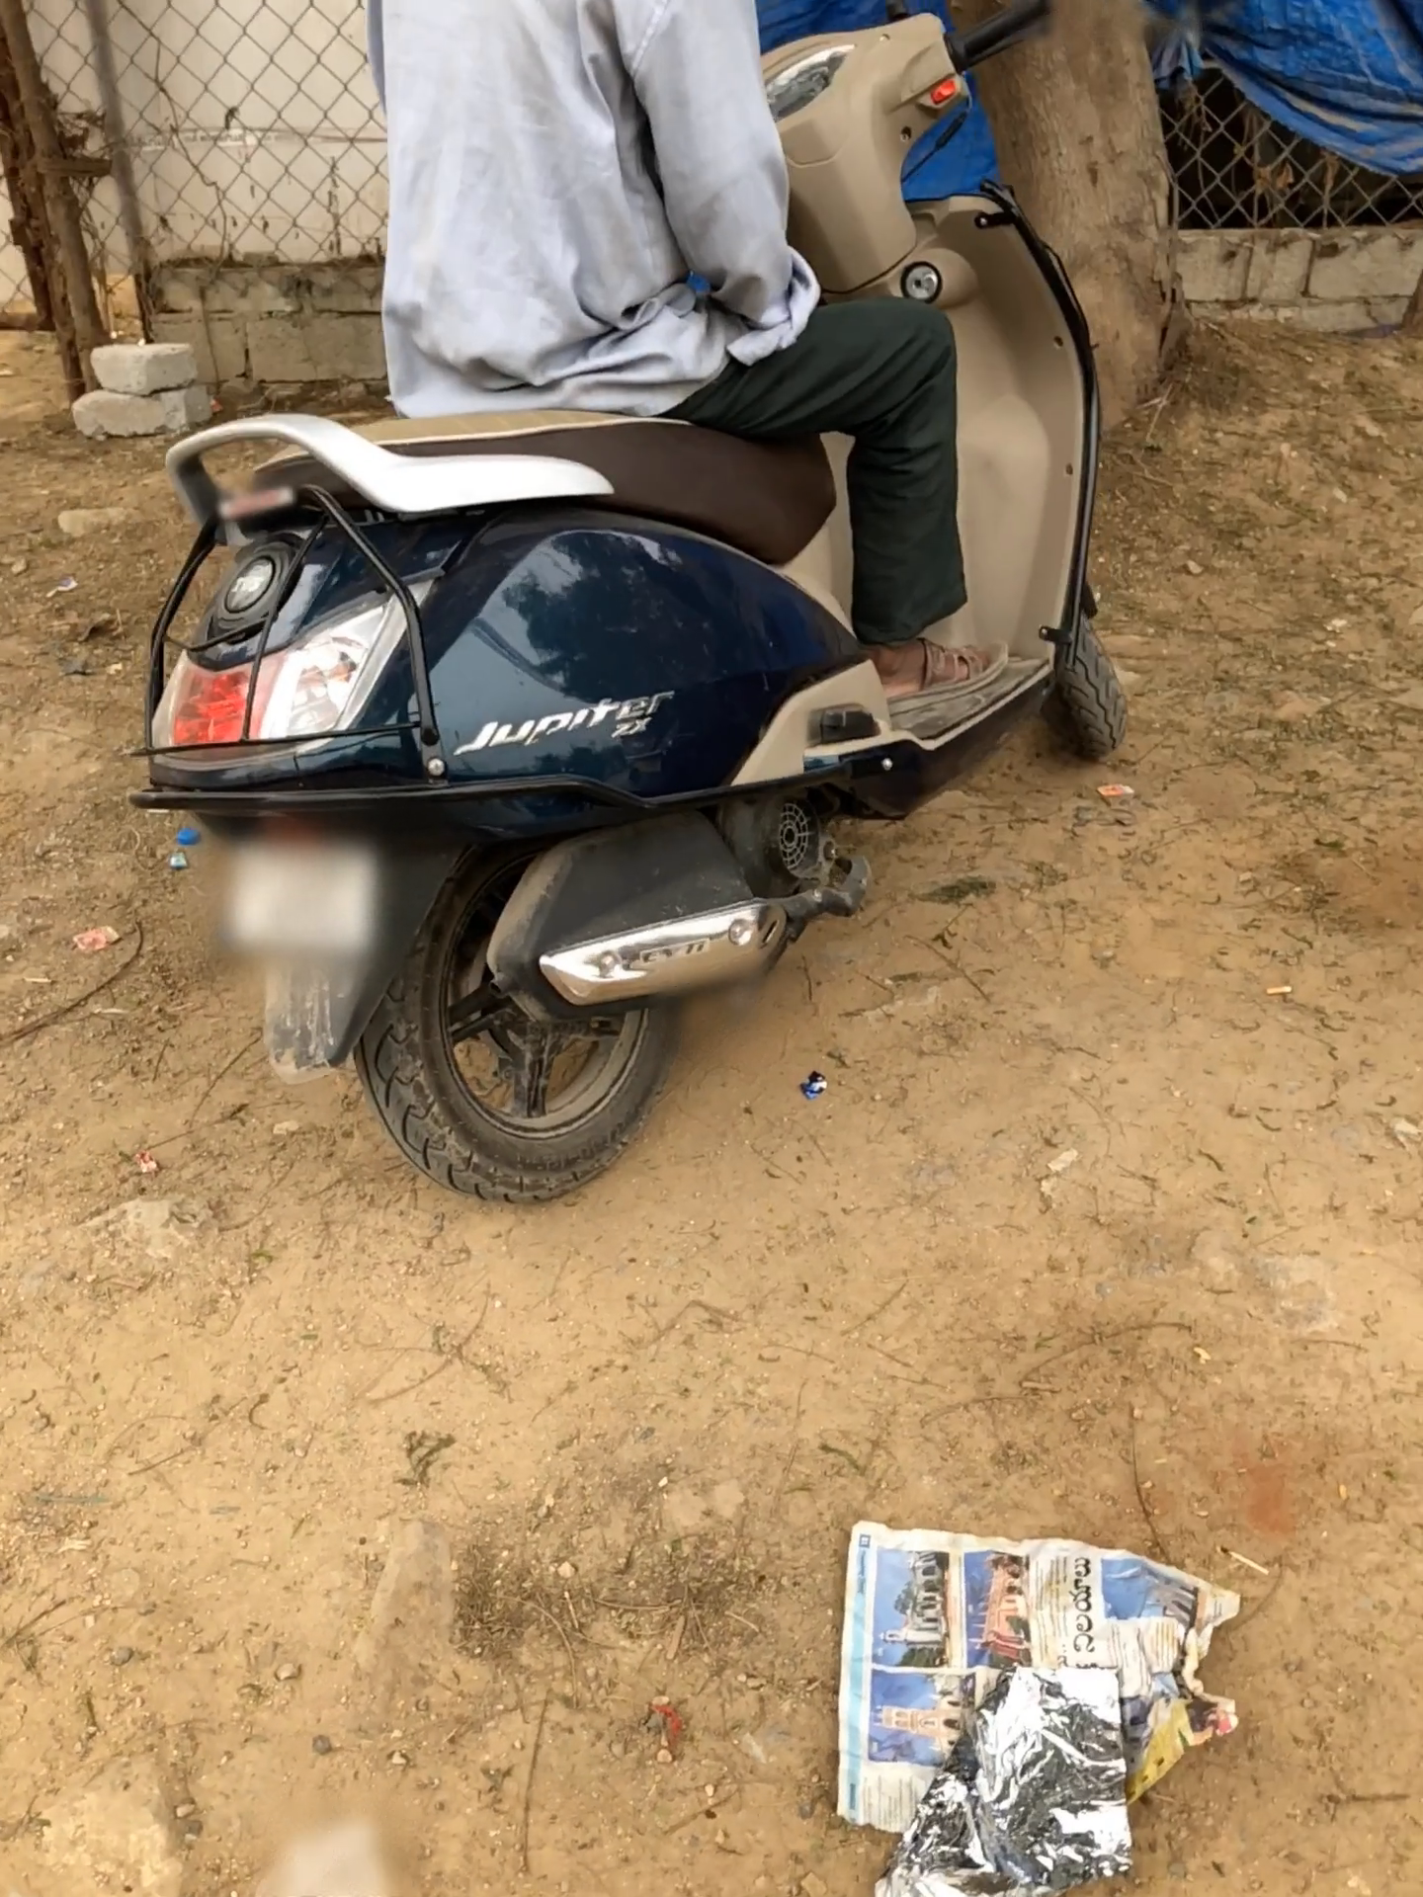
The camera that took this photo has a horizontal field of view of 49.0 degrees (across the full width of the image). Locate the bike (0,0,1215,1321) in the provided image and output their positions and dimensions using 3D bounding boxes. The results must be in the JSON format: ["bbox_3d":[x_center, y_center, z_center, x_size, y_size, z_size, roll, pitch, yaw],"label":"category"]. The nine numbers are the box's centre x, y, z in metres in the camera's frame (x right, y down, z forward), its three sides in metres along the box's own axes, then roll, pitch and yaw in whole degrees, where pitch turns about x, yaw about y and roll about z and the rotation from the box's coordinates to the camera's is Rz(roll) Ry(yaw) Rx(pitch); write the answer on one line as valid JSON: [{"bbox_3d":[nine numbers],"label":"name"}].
[{"bbox_3d":[-0.060,-0.630,1.838,0.634,1.119,1.350,20,45,30],"label":"bike"}]
